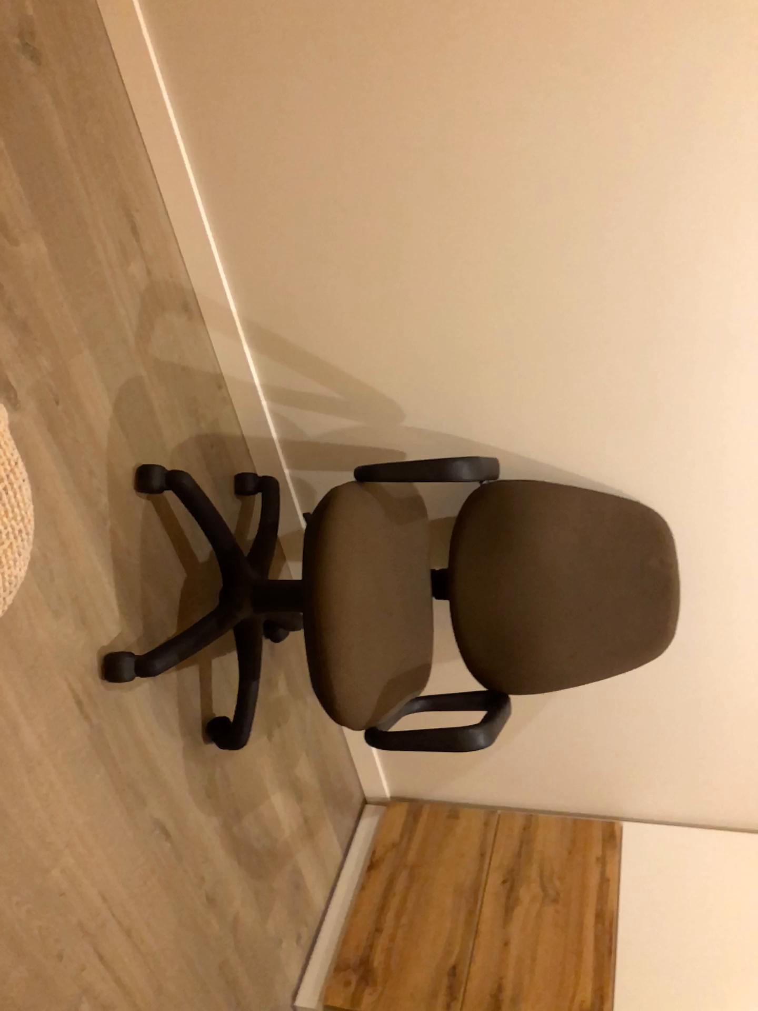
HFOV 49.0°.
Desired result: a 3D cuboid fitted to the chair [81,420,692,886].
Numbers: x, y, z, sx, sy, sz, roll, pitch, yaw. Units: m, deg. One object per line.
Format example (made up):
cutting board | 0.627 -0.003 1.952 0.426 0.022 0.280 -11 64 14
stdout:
chair | 0.077 0.207 1.622 0.713 0.976 0.630 -5 92 -70
